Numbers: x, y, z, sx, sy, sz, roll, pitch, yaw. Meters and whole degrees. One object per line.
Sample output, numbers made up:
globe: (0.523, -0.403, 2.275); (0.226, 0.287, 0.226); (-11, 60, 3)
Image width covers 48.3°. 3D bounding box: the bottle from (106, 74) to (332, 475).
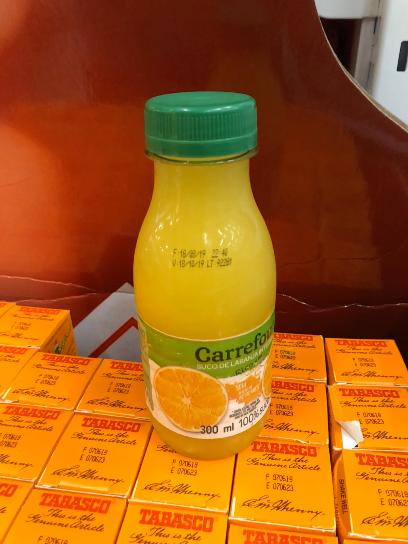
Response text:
bottle: (0.005, 0.002, 0.190); (0.060, 0.149, 0.050); (-16, 31, -25)
